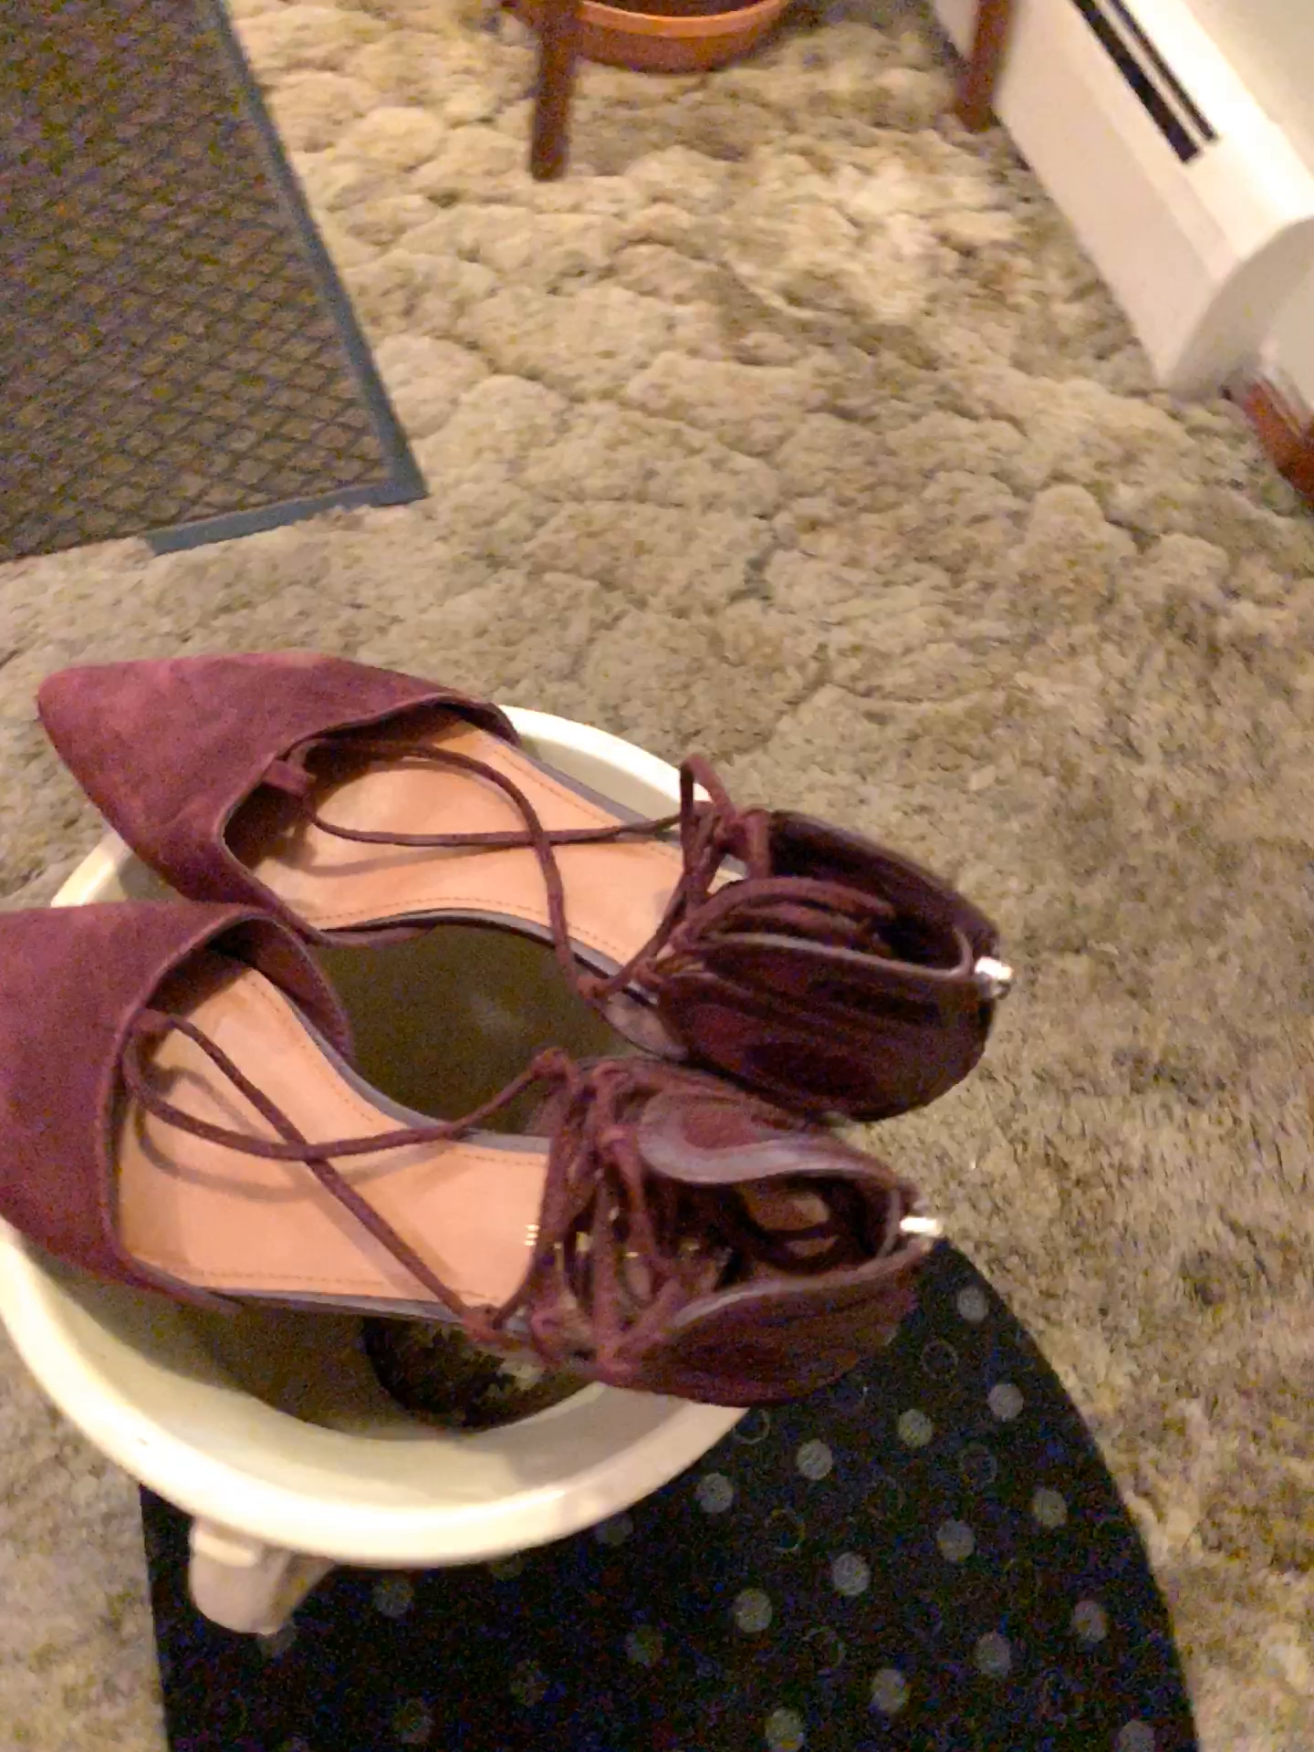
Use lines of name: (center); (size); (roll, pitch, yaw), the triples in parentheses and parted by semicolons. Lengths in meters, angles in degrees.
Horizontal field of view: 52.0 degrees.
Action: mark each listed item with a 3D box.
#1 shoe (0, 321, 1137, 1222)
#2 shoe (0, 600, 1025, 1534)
shoe: (-0.038, -0.020, 0.326); (0.260, 0.099, 0.093); (22, 62, 3)
shoe: (-0.071, 0.047, 0.290); (0.260, 0.099, 0.093); (19, 62, 2)
